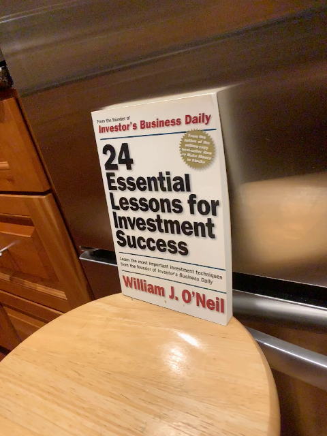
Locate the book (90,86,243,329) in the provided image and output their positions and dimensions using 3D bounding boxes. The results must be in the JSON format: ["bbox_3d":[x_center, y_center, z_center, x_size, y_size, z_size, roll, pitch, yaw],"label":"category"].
[{"bbox_3d":[0.002,-0.009,0.365,0.150,0.229,0.030,5,20,39],"label":"book"}]
